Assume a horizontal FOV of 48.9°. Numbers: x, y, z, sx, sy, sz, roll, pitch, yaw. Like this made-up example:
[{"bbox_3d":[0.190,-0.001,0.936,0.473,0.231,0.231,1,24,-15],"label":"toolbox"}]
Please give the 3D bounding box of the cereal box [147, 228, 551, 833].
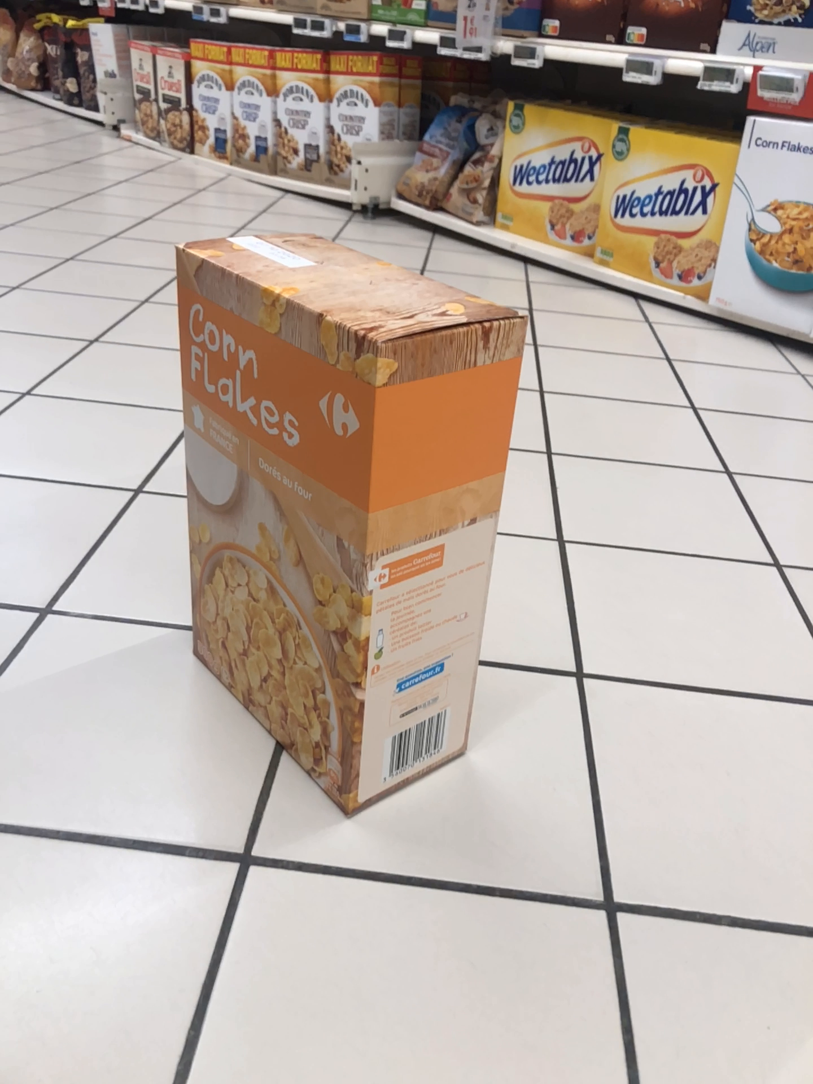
[{"bbox_3d":[-0.048,-0.017,0.525,0.111,0.278,0.200,-18,37,-36],"label":"cereal box"}]
